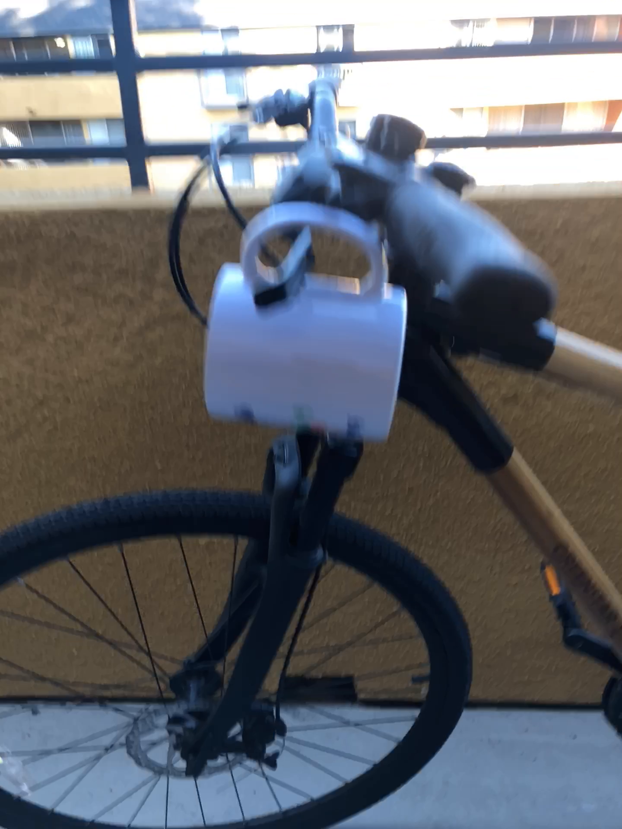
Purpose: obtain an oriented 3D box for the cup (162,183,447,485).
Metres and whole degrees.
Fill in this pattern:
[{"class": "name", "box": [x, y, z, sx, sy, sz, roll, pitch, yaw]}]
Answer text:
[{"class": "cup", "box": [0.002, -0.046, 0.363, 0.120, 0.119, 0.090, 7, 33, 10]}]
